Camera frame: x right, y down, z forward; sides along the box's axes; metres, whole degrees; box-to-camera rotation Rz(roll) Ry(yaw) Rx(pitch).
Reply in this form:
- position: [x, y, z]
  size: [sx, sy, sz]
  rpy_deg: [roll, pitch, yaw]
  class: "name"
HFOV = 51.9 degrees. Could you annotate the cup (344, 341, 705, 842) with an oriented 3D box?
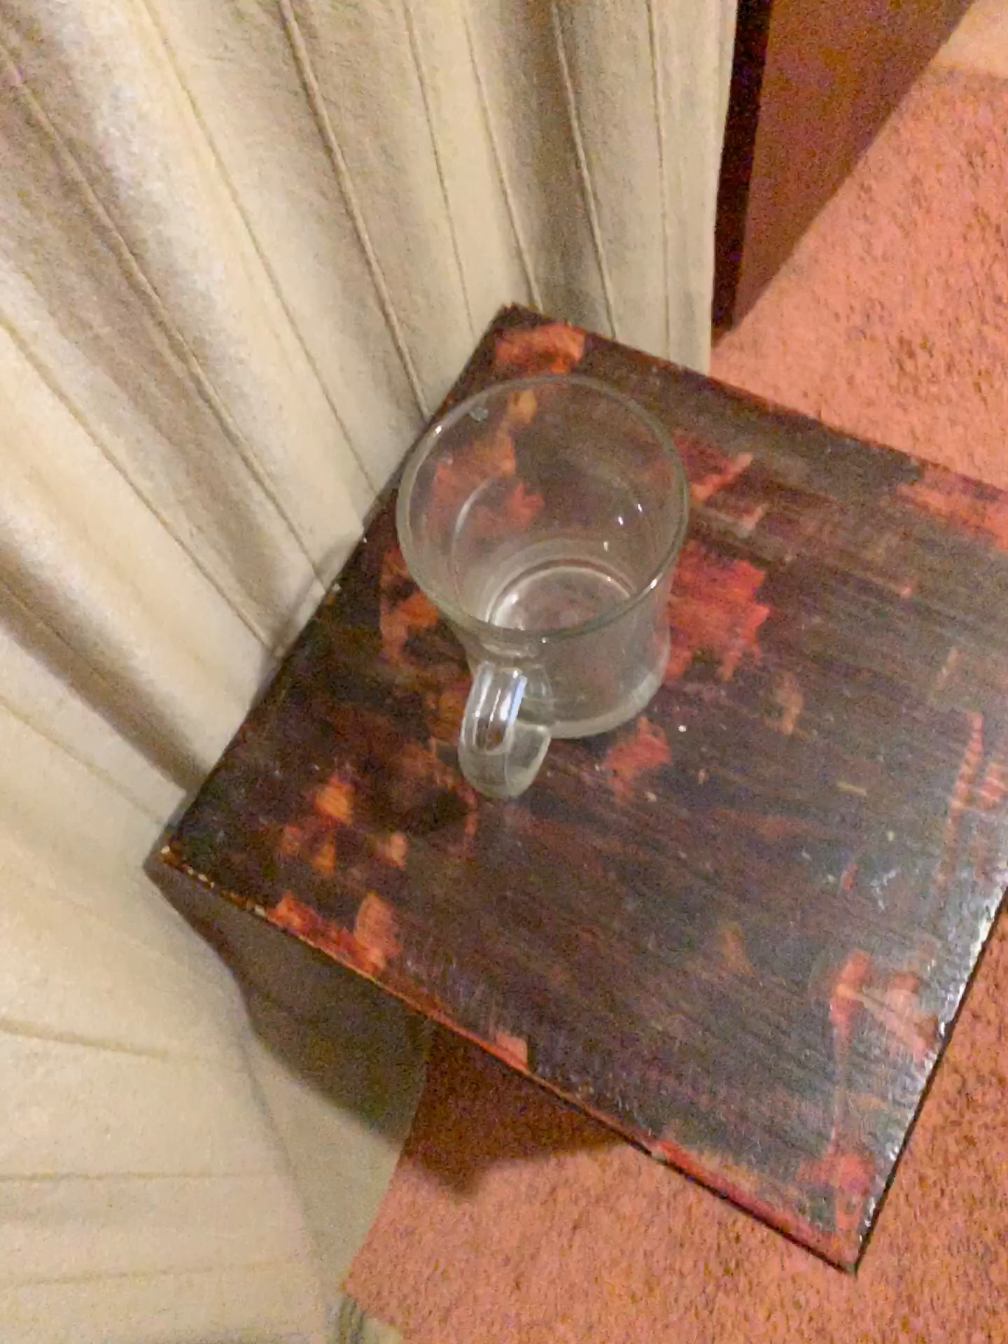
- position: [0.018, -0.024, 0.405]
  size: [0.100, 0.136, 0.143]
  rpy_deg: [6, 69, 10]
  class: "cup"
